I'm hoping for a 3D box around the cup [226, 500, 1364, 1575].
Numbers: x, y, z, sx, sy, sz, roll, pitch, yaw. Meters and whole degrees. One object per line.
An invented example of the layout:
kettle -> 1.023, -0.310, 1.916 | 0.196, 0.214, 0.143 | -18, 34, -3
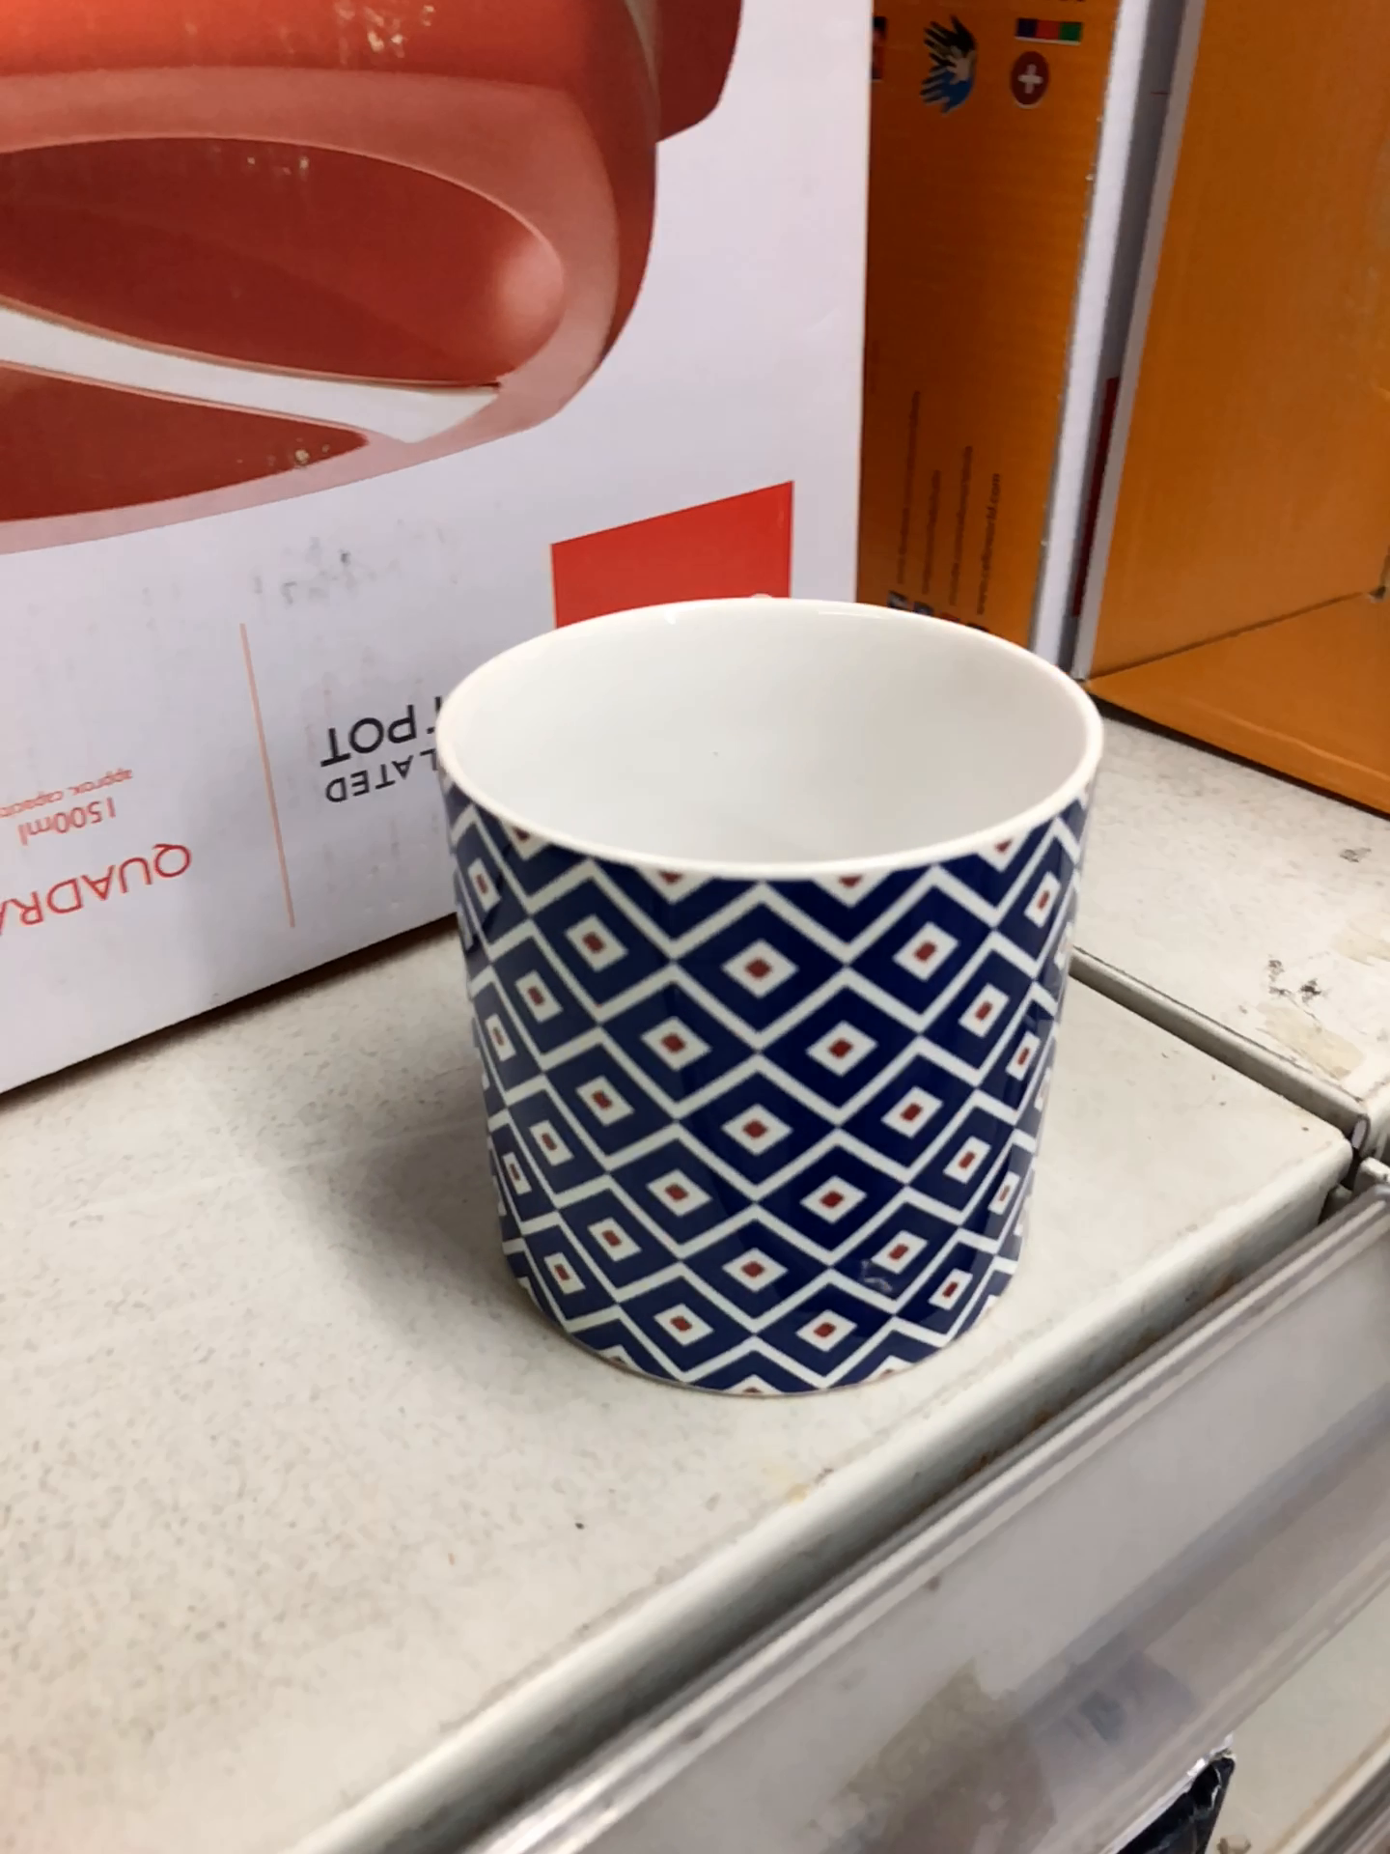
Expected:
cup -> 0.013, 0.002, 0.206 | 0.110, 0.079, 0.080 | -23, 38, -31
